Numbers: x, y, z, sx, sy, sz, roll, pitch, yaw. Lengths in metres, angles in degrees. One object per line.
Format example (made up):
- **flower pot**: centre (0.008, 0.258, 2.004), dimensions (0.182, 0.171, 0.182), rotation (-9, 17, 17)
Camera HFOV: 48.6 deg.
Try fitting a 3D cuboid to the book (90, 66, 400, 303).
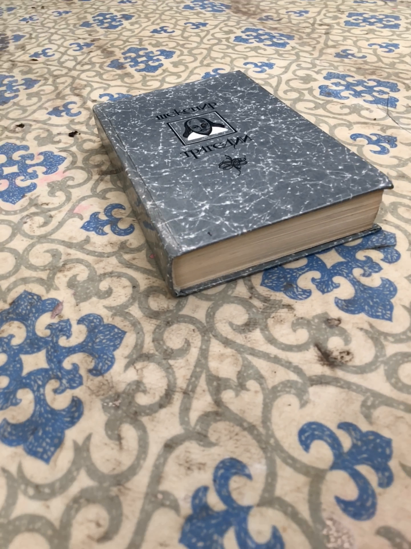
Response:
- **book**: centre (0.008, -0.082, 0.319), dimensions (0.134, 0.033, 0.207), rotation (-18, 45, -12)
